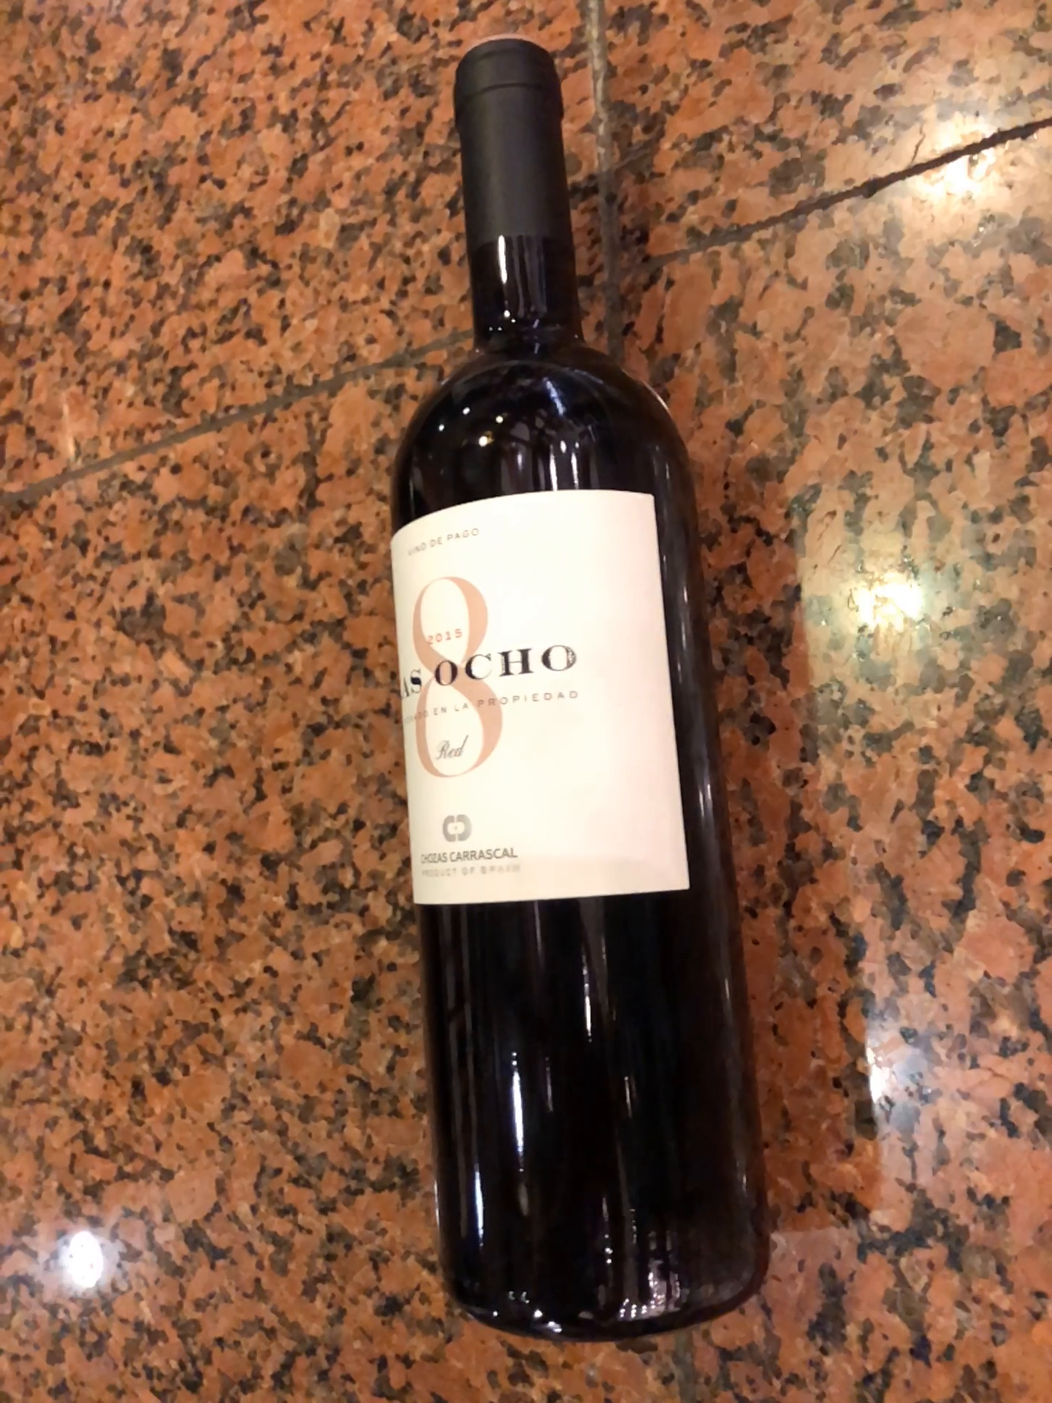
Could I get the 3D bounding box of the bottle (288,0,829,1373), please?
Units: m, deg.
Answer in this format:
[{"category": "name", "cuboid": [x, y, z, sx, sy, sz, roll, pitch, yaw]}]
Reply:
[{"category": "bottle", "cuboid": [0.005, -0.034, 0.293, 0.080, 0.070, 0.340, -10, 81, 34]}]
